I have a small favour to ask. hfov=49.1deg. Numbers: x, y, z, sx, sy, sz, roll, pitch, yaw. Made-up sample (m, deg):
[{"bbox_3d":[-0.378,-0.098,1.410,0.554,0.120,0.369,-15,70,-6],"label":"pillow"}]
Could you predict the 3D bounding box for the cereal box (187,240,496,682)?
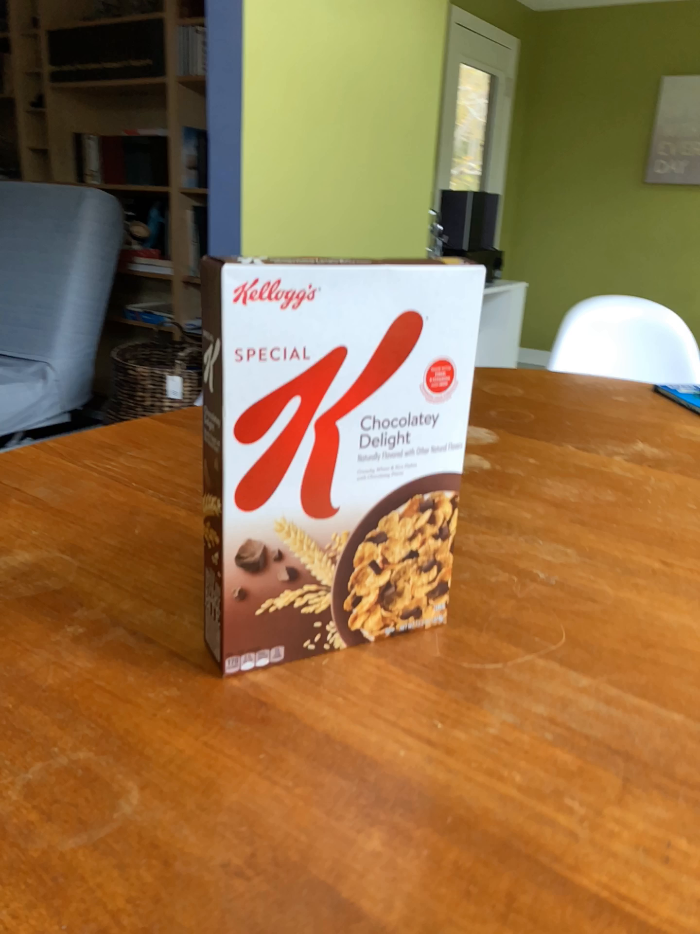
[{"bbox_3d":[-0.008,-0.008,0.546,0.200,0.288,0.050,-7,21,-26],"label":"cereal box"}]
